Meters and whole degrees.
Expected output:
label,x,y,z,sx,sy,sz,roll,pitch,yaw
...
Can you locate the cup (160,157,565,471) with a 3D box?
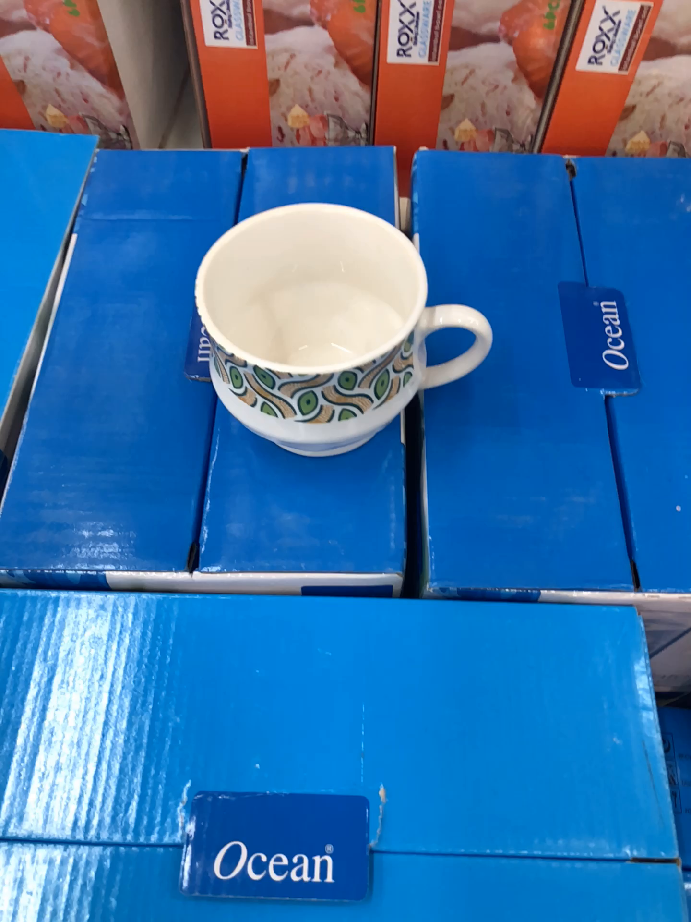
label,x,y,z,sx,sy,sz,roll,pitch,yaw
cup,0.004,-0.042,0.233,0.100,0.060,0.070,1,61,-1
